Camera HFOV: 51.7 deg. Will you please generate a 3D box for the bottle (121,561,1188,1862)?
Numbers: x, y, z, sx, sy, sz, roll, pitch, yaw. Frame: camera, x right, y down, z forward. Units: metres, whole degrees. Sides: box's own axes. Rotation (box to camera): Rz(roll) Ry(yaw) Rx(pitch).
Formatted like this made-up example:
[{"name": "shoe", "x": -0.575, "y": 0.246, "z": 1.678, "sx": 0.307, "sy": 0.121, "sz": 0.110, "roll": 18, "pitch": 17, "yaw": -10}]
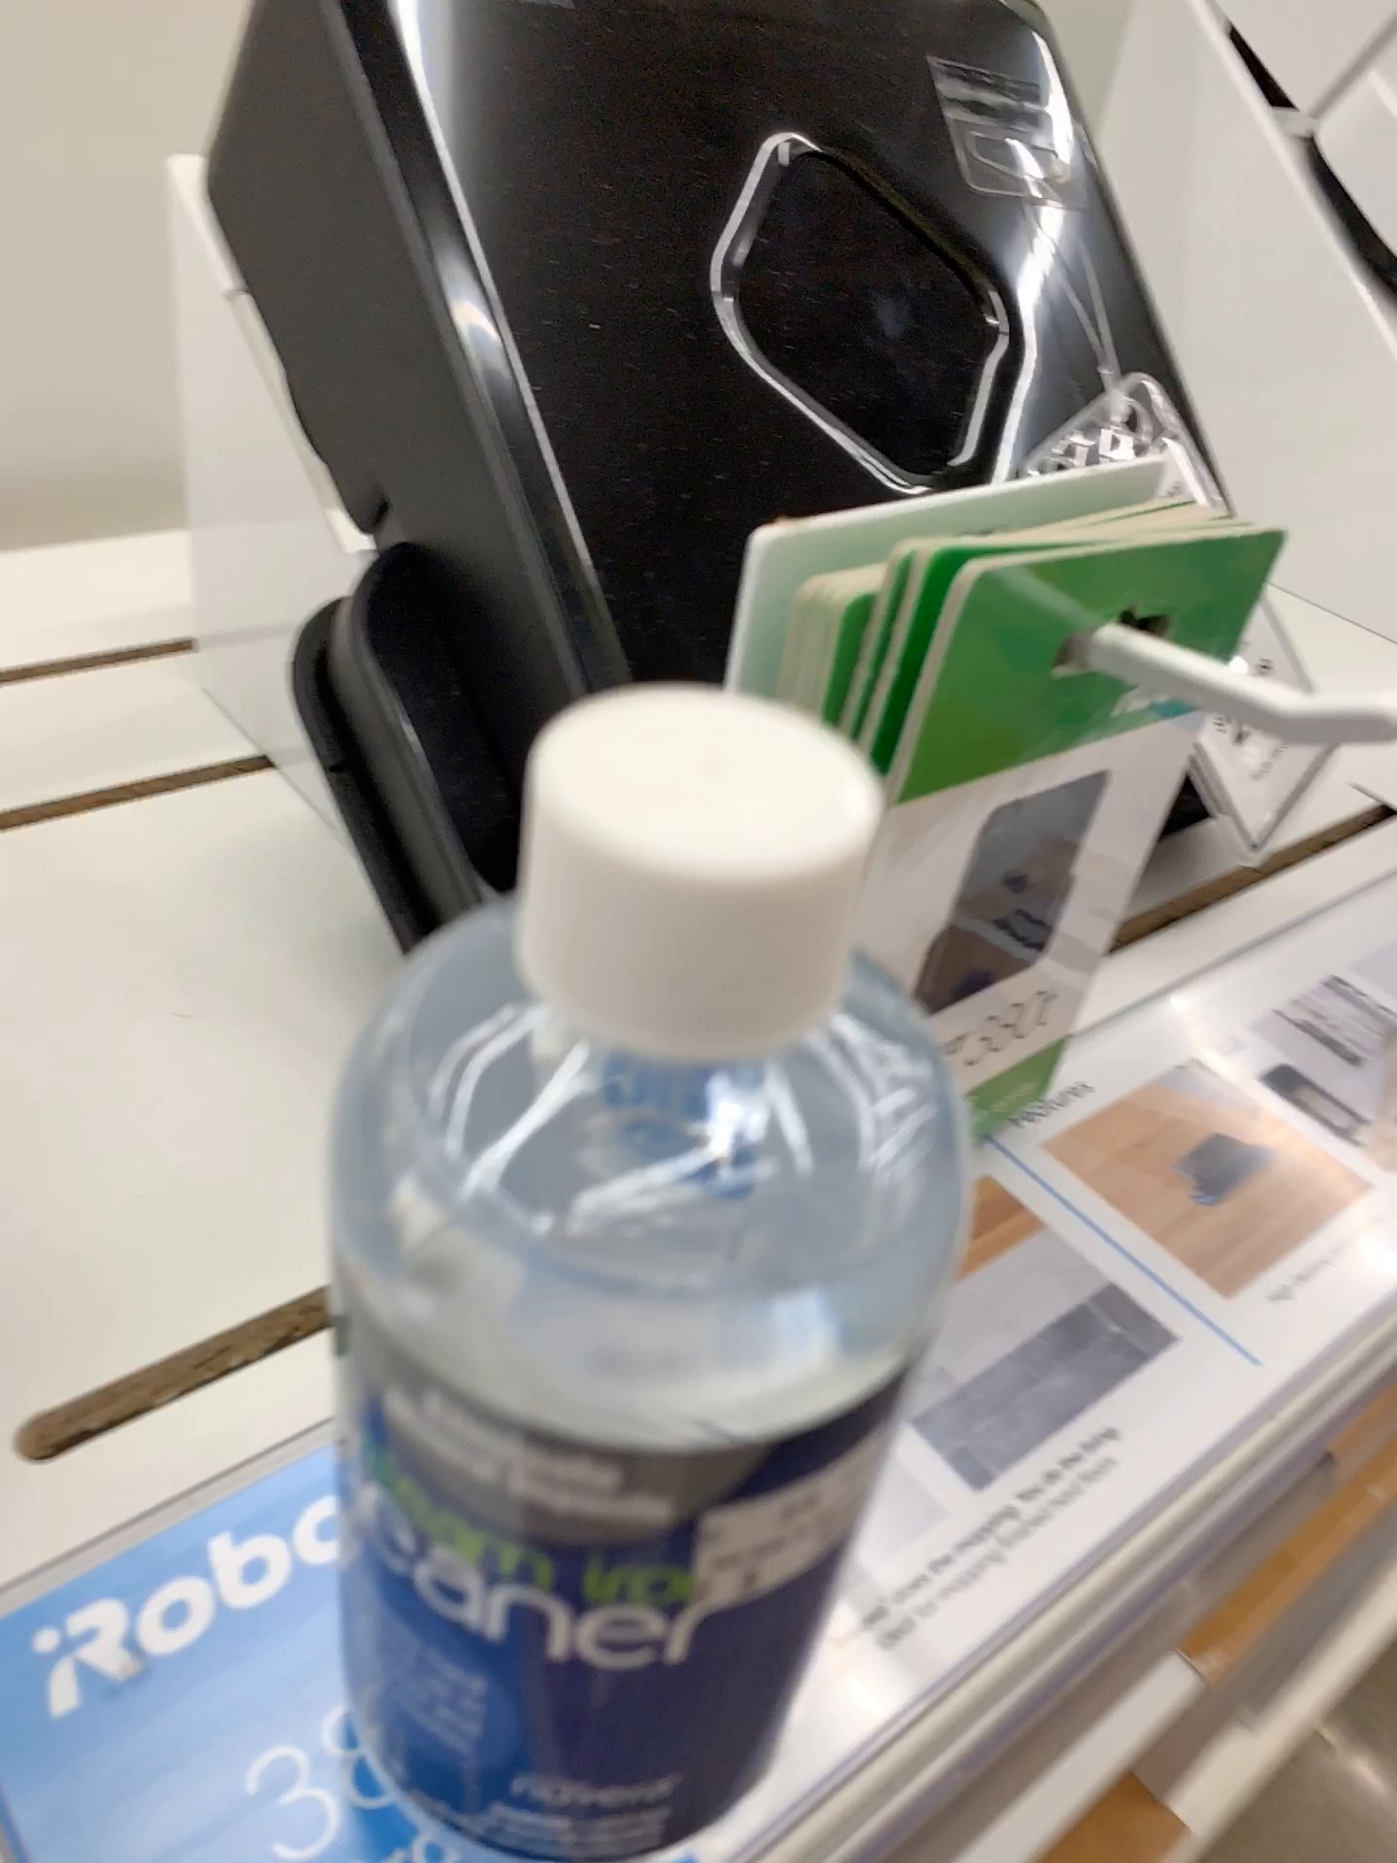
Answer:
[{"name": "bottle", "x": -0.008, "y": 0.041, "z": 0.147, "sx": 0.060, "sy": 0.129, "sz": 0.060, "roll": 7, "pitch": 36, "yaw": -5}]
